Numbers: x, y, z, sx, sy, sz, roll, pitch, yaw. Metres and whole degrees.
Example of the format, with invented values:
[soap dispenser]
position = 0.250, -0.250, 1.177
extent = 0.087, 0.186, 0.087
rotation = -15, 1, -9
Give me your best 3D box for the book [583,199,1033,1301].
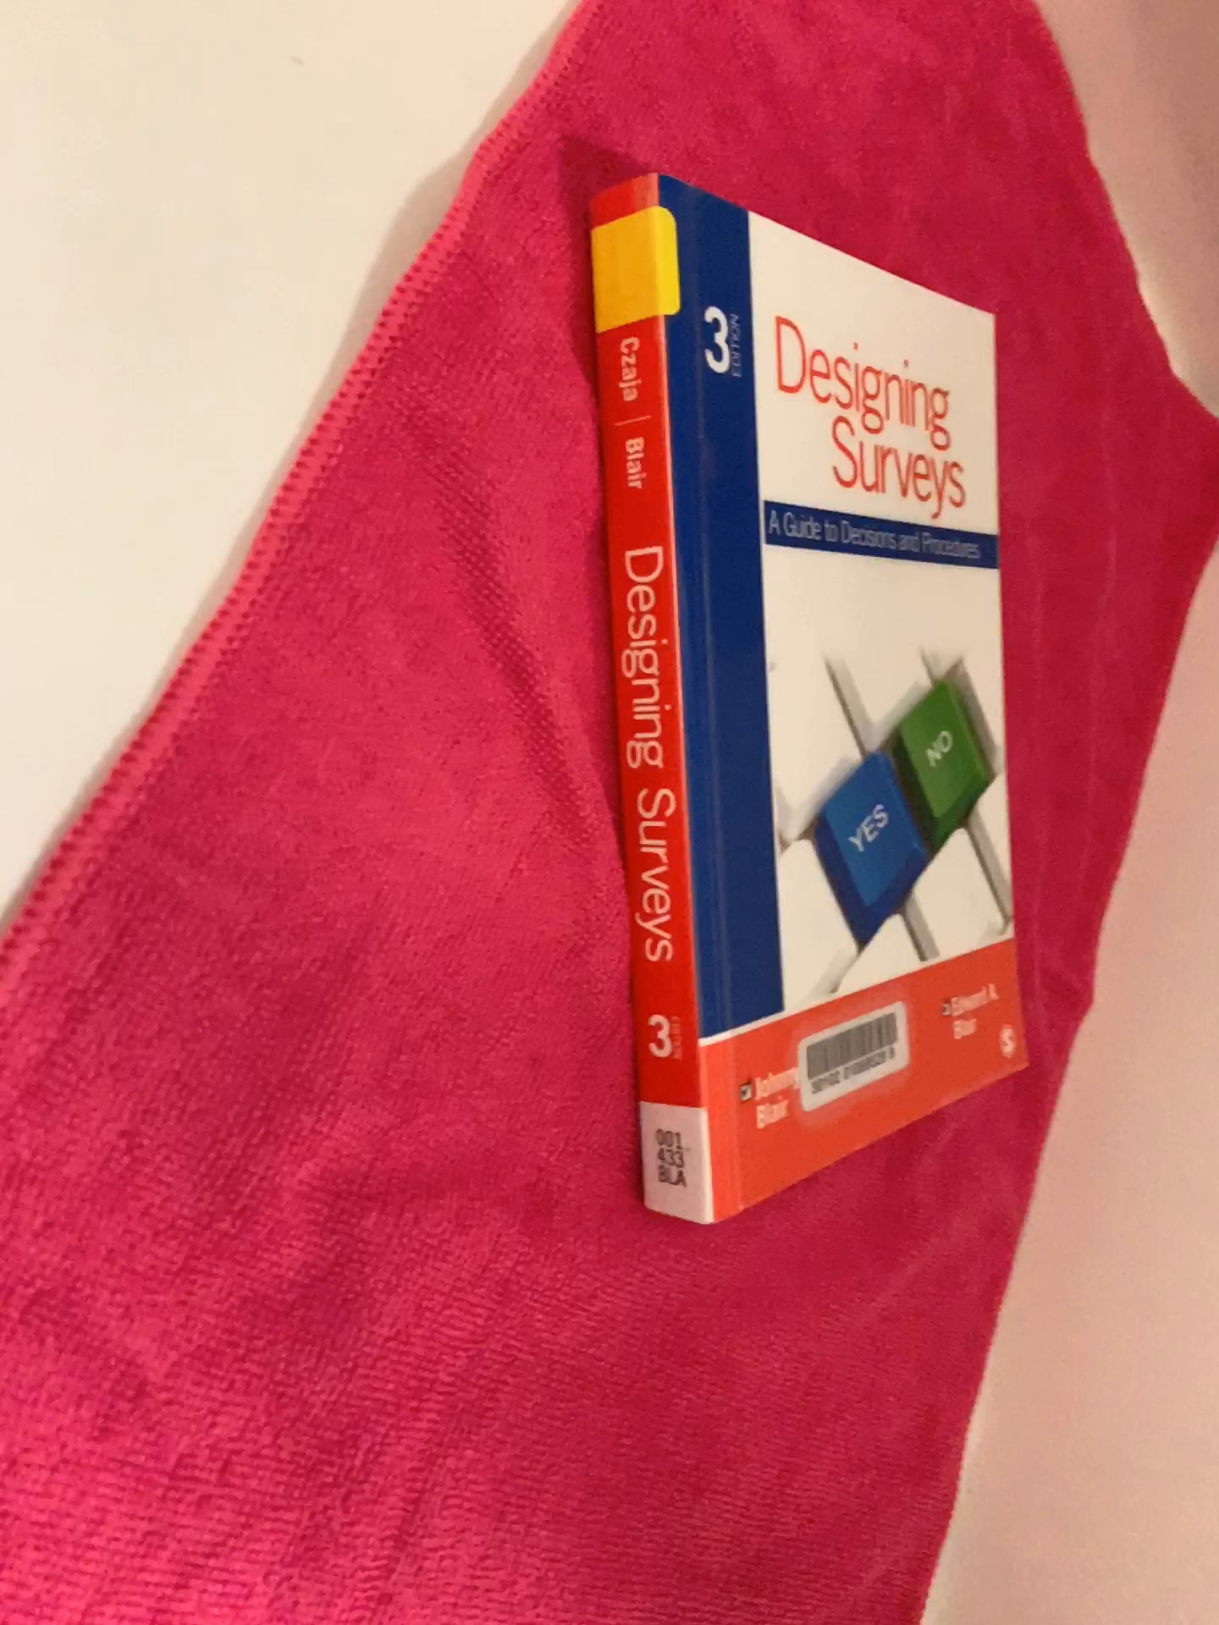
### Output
[book]
position = 0.063, -0.017, 0.329
extent = 0.161, 0.026, 0.230
rotation = -9, 98, -48
